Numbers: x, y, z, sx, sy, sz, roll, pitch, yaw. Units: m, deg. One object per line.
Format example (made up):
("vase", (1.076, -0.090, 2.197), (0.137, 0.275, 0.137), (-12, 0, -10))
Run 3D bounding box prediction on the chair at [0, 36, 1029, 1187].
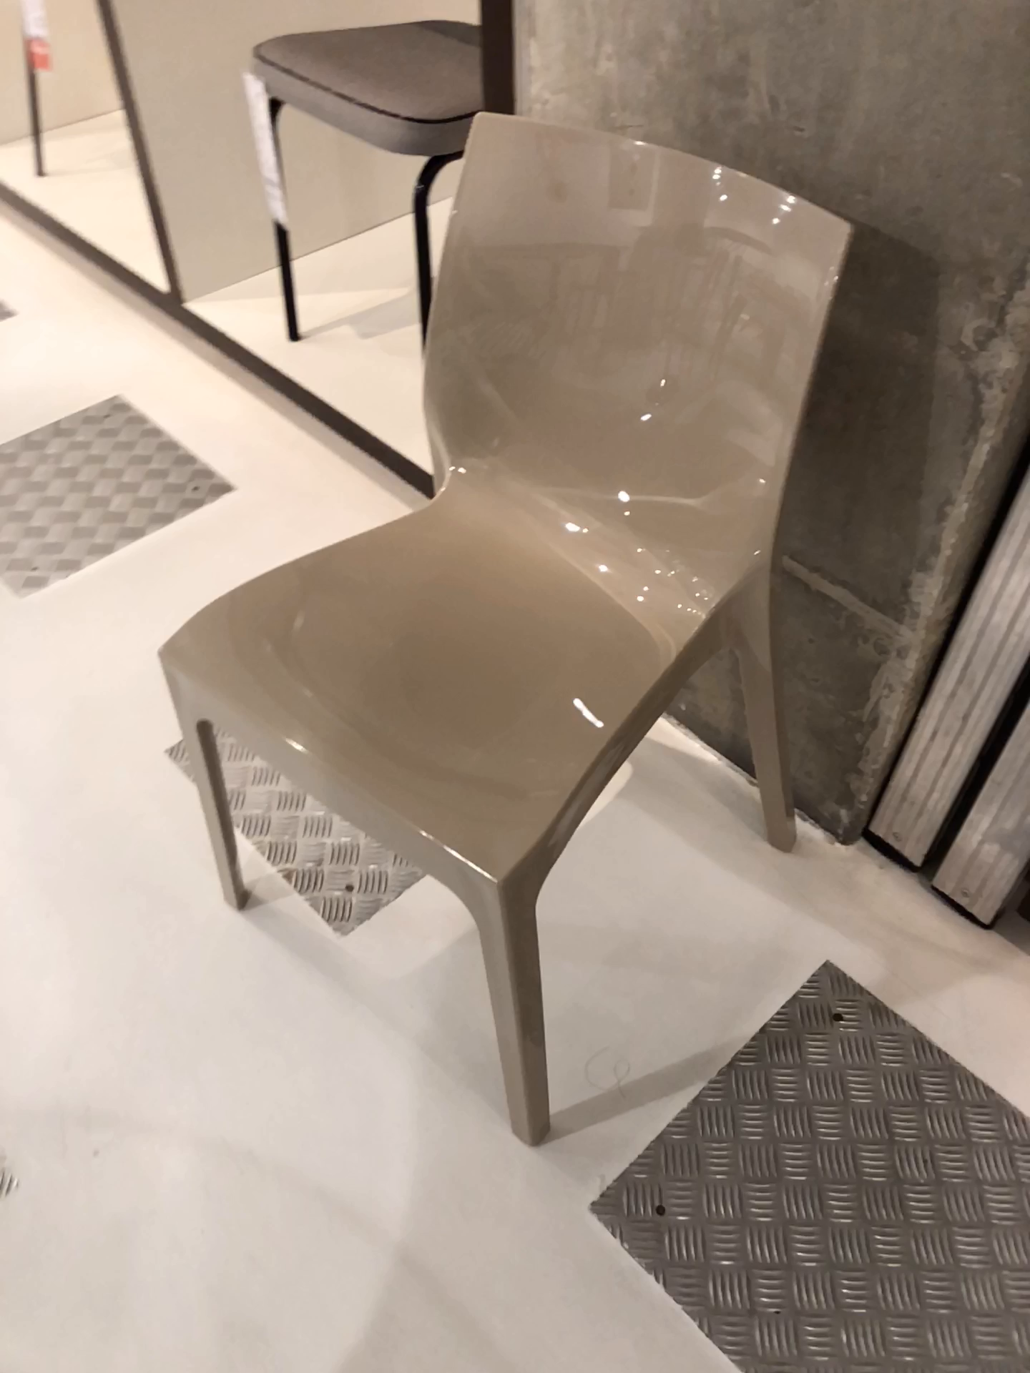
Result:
("chair", (-0.003, -0.058, 1.121), (0.551, 0.824, 0.562), (31, 54, 26))
